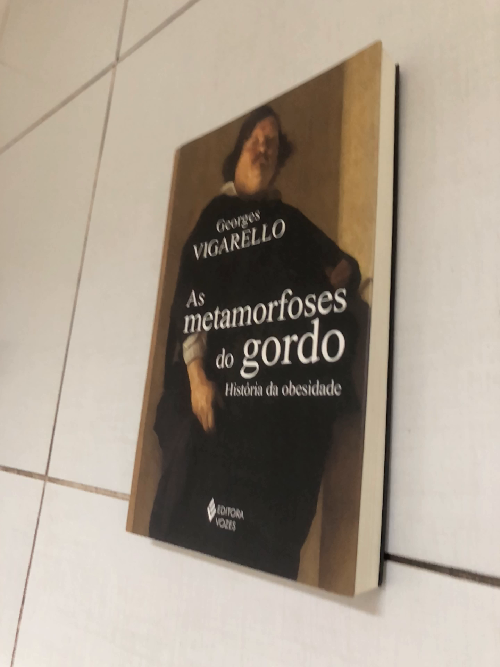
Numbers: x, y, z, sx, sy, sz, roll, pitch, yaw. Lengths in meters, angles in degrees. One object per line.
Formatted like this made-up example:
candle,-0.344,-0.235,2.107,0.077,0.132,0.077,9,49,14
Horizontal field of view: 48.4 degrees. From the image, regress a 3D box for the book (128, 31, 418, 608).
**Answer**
book,0.005,-0.007,0.248,0.137,0.023,0.204,-8,73,46
